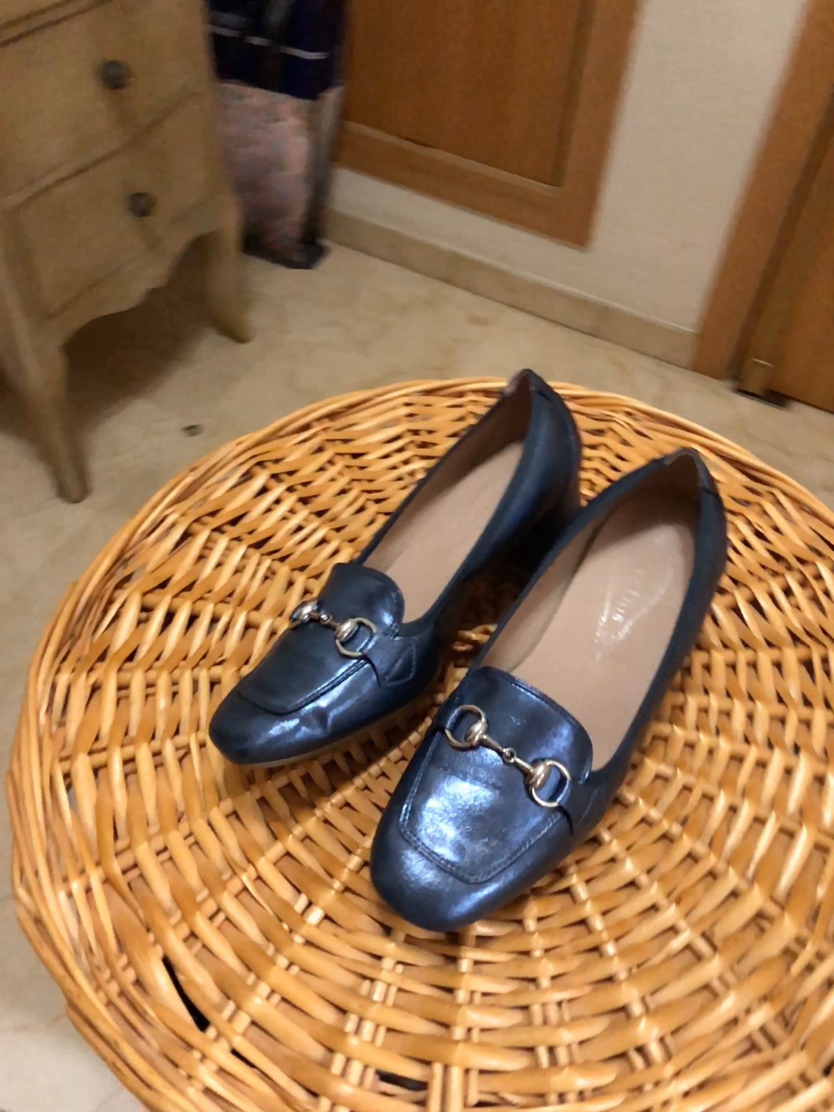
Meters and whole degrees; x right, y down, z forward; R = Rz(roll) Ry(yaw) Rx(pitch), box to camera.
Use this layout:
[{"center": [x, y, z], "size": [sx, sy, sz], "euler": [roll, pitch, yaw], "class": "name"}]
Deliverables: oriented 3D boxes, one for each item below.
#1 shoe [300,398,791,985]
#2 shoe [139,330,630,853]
[{"center": [0.073, 0.057, 0.447], "size": [0.090, 0.090, 0.261], "euler": [28, 67, 28], "class": "shoe"}, {"center": [-0.005, 0.012, 0.484], "size": [0.100, 0.090, 0.250], "euler": [32, 72, 30], "class": "shoe"}]
